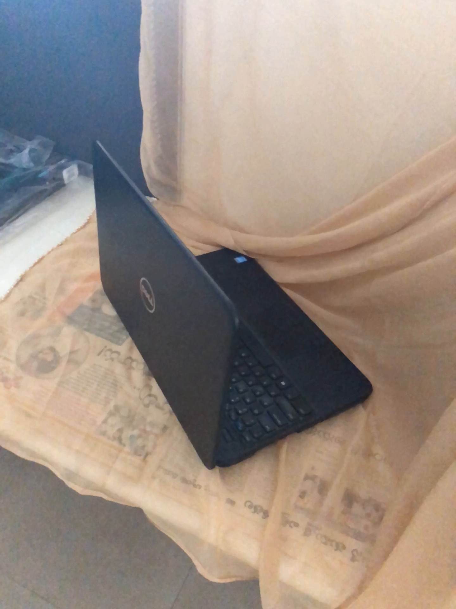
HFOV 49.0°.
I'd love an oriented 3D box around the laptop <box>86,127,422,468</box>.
[{"bbox_3d":[0.005,-0.038,0.648,0.256,0.237,0.334,-17,46,-26],"label":"laptop"}]
